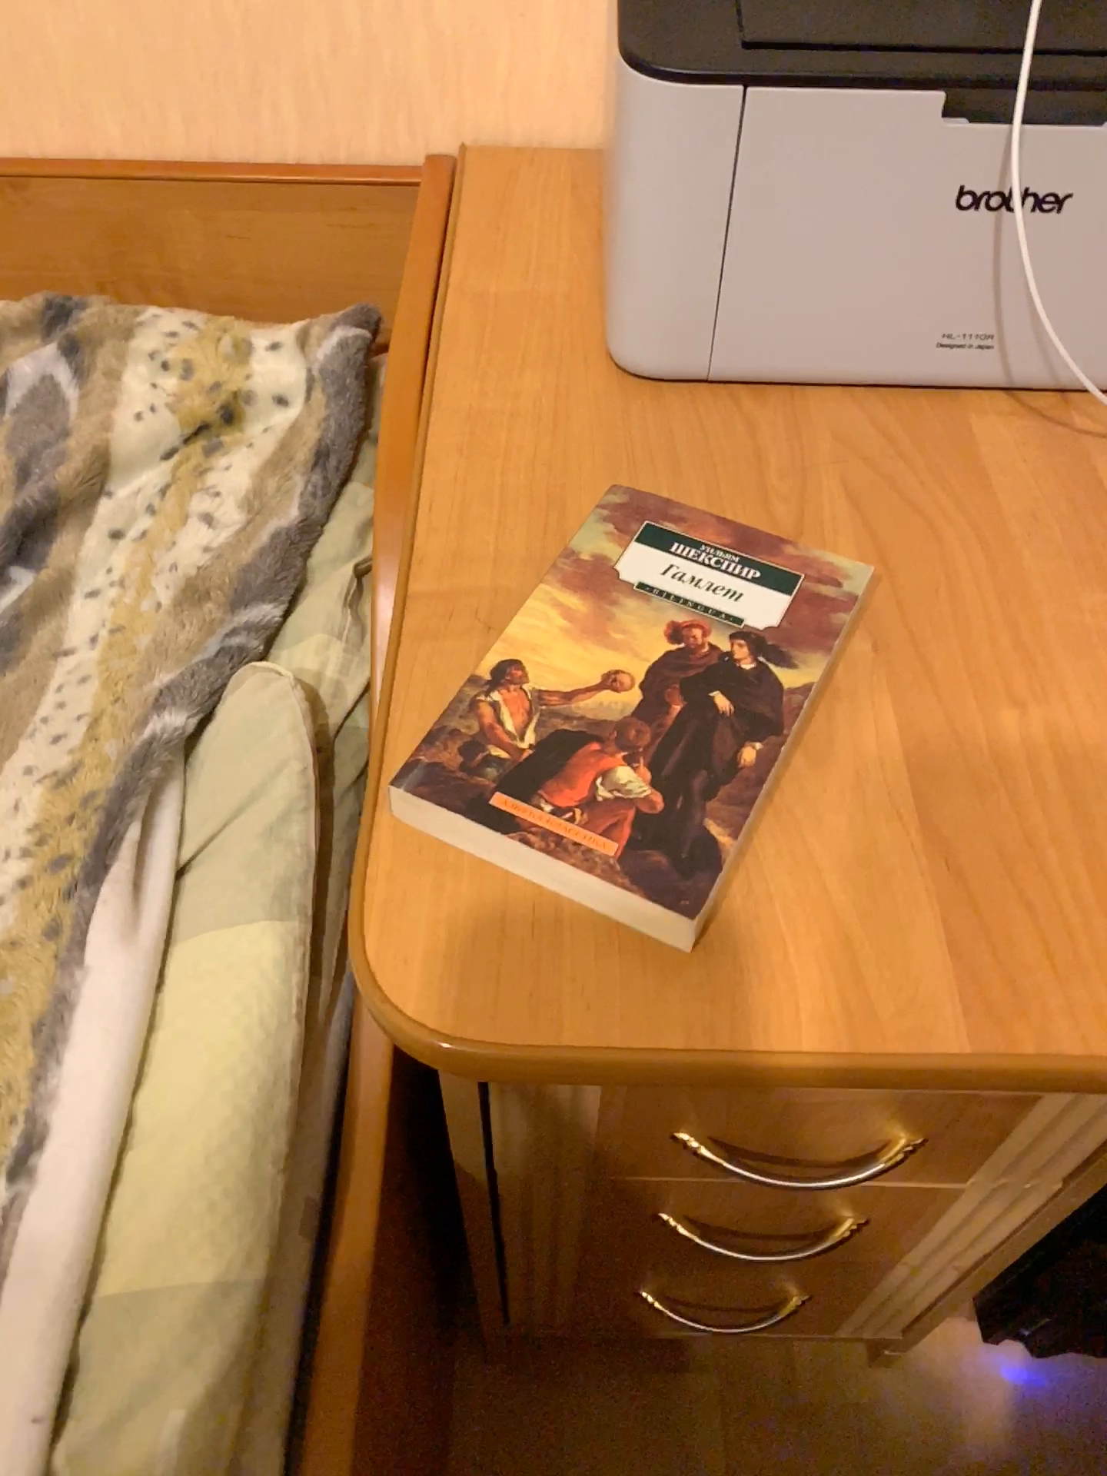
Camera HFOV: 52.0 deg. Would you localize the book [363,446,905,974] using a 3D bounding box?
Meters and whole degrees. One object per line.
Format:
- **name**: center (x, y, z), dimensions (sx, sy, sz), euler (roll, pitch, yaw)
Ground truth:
- **book**: center (0.037, -0.024, 0.413), dimensions (0.120, 0.030, 0.191), euler (23, 55, 17)
